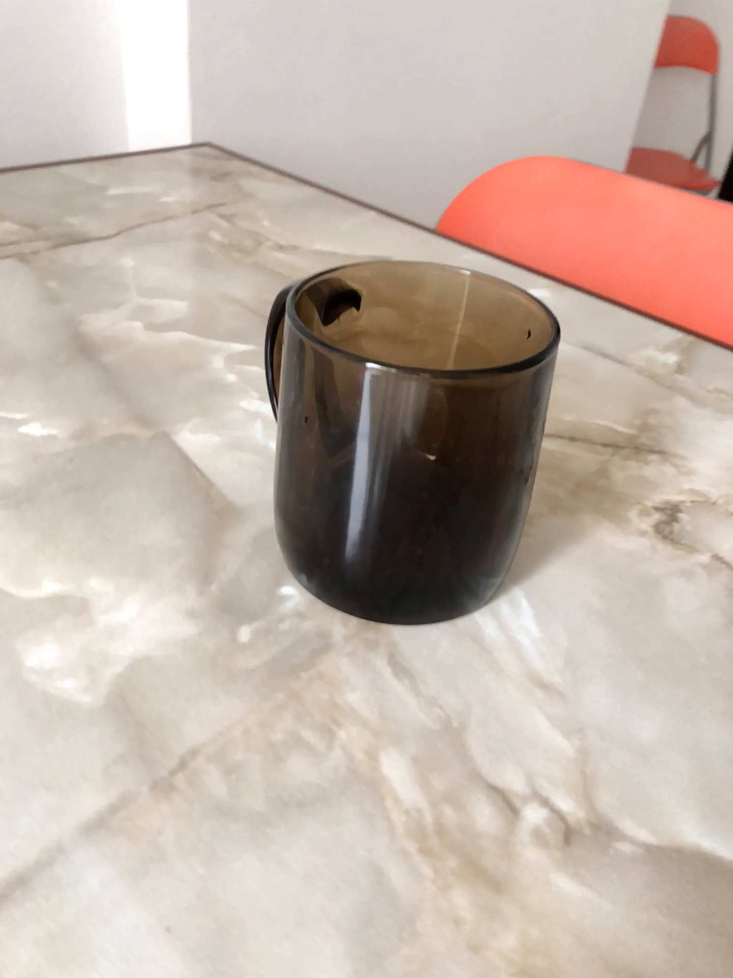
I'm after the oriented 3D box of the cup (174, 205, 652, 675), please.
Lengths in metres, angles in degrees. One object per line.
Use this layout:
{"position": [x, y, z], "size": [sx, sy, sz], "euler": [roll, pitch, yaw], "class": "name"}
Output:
{"position": [0.005, -0.027, 0.271], "size": [0.091, 0.090, 0.123], "euler": [-17, 42, -30], "class": "cup"}
